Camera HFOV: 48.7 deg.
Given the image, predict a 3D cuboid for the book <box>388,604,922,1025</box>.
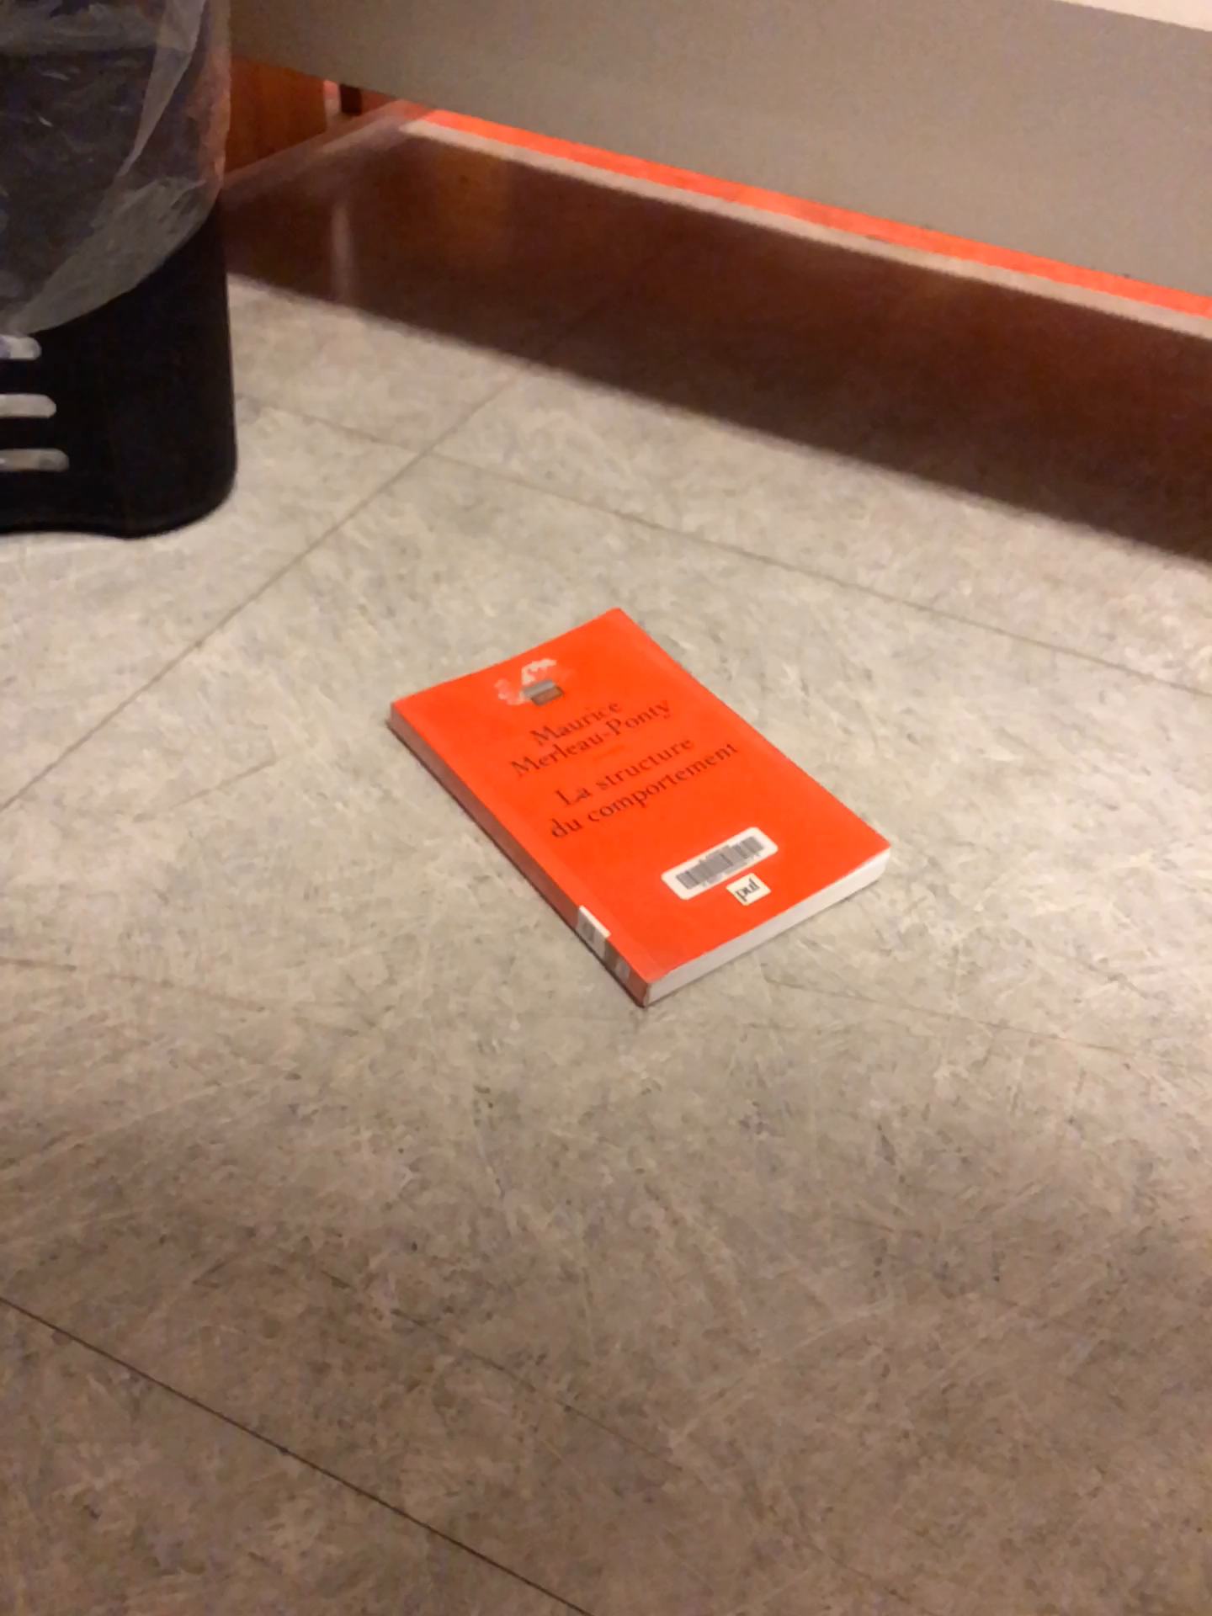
[{"bbox_3d":[0.015,-0.010,0.578,0.136,0.020,0.200,-24,51,-28],"label":"book"}]
